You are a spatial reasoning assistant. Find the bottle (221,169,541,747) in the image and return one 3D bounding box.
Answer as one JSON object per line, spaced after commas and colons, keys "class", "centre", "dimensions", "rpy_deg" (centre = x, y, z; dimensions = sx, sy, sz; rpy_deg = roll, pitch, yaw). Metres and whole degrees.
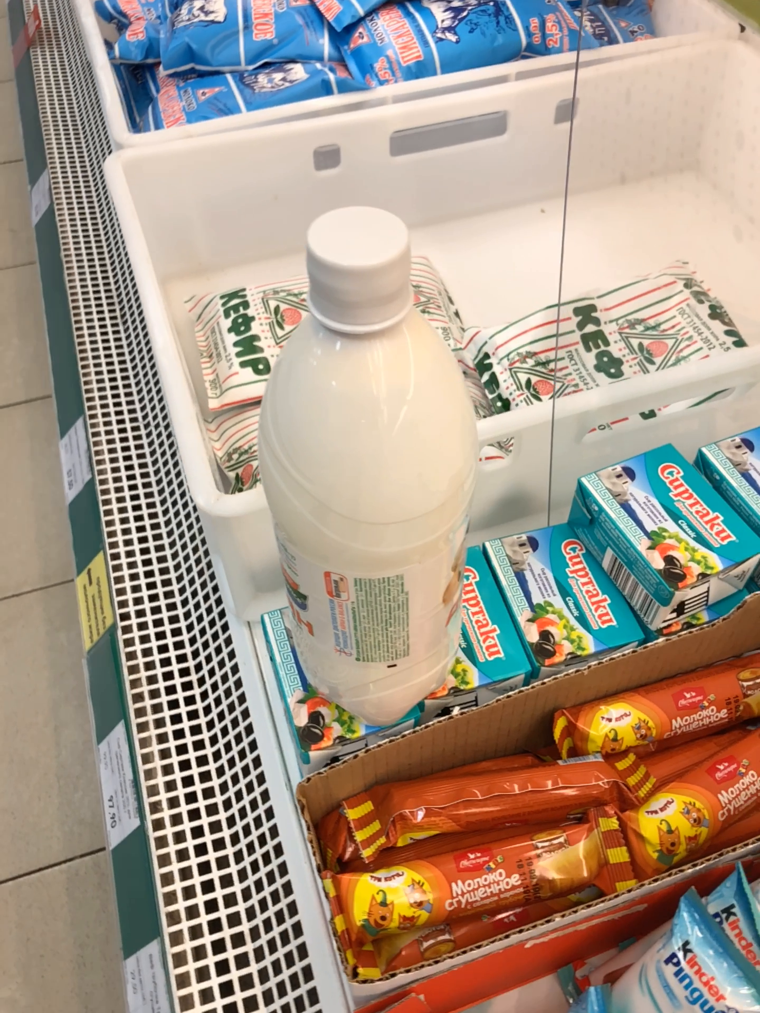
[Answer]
{"class": "bottle", "centre": [-0.002, 0.005, 0.339], "dimensions": [0.079, 0.250, 0.077], "rpy_deg": [-1, 52, 1]}
